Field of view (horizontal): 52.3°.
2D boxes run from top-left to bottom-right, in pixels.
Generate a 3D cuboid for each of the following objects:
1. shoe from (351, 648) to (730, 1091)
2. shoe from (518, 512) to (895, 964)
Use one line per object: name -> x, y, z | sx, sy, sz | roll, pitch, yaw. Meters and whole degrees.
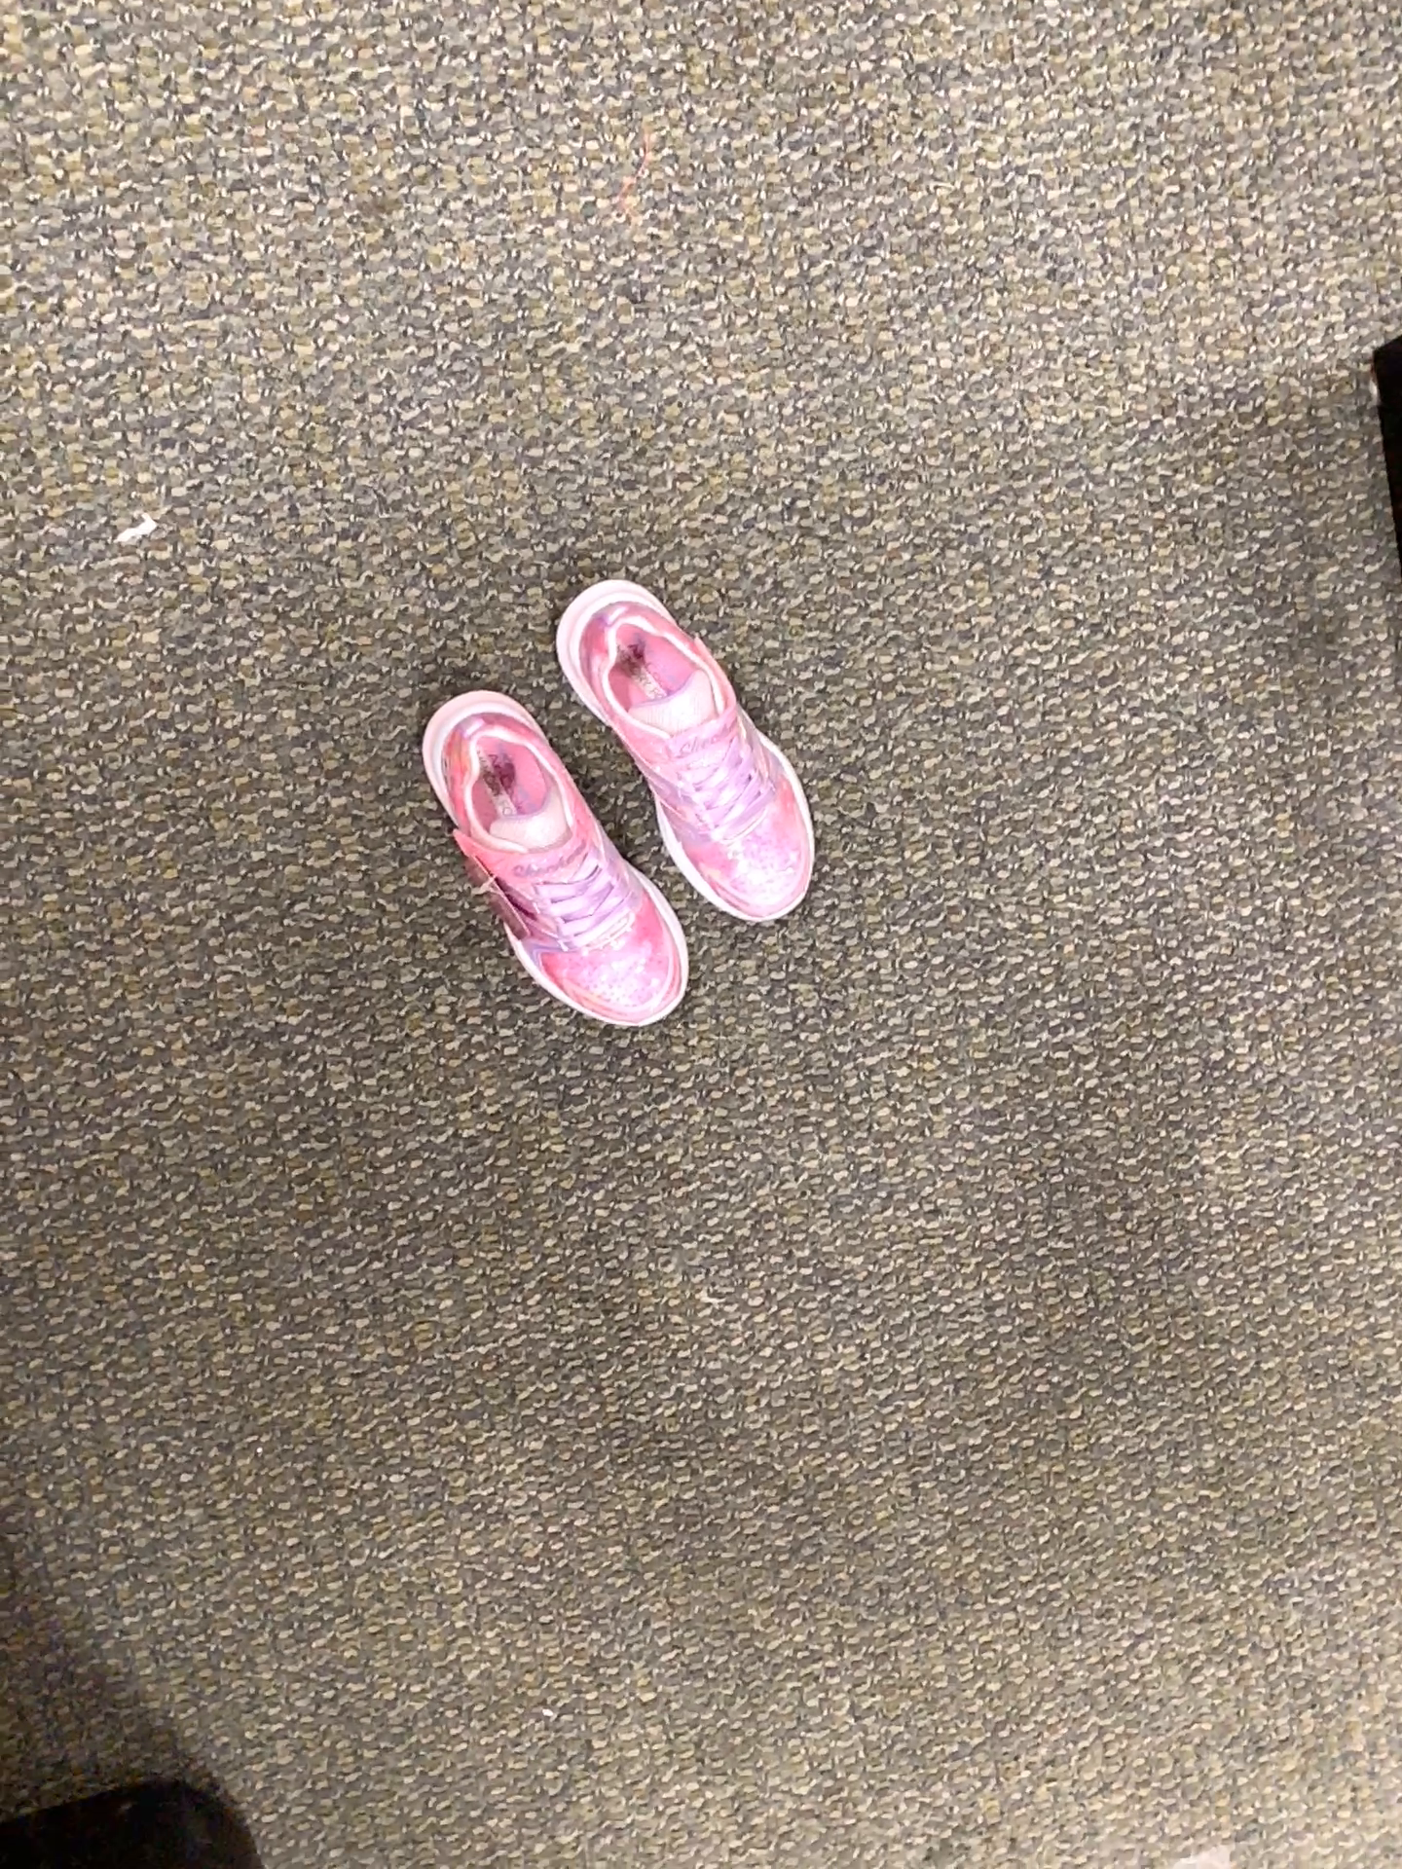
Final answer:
shoe -> -0.083, -0.033, 0.746 | 0.086, 0.110, 0.200 | -34, 97, -4
shoe -> -0.002, -0.096, 0.738 | 0.086, 0.110, 0.200 | -34, 97, -4
